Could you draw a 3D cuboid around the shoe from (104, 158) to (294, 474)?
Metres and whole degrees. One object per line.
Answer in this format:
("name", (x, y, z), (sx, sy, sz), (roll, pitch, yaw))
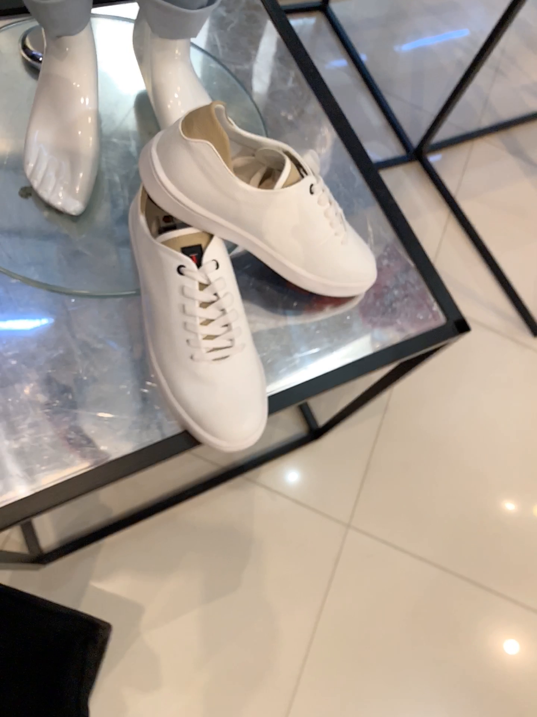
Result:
("shoe", (-0.079, -0.046, 0.563), (0.100, 0.100, 0.291), (-14, 73, -17))

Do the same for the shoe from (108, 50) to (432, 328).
("shoe", (0.014, -0.147, 0.531), (0.300, 0.080, 0.100), (24, 47, -26))
